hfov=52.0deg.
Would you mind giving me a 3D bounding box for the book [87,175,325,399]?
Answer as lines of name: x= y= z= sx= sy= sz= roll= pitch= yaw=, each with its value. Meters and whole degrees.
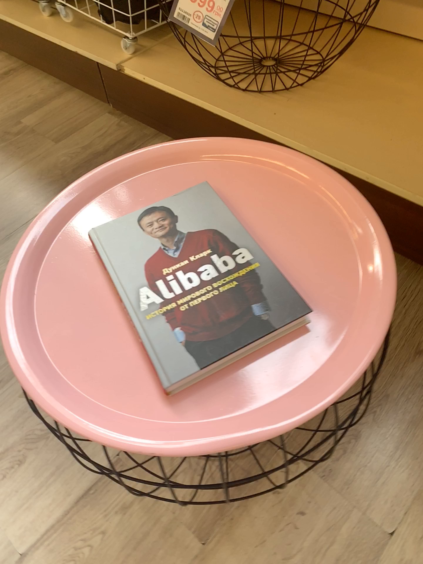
book: x=-0.019 y=-0.014 z=0.498 sx=0.180 sy=0.026 sz=0.241 roll=-25 pitch=55 yaw=-12
